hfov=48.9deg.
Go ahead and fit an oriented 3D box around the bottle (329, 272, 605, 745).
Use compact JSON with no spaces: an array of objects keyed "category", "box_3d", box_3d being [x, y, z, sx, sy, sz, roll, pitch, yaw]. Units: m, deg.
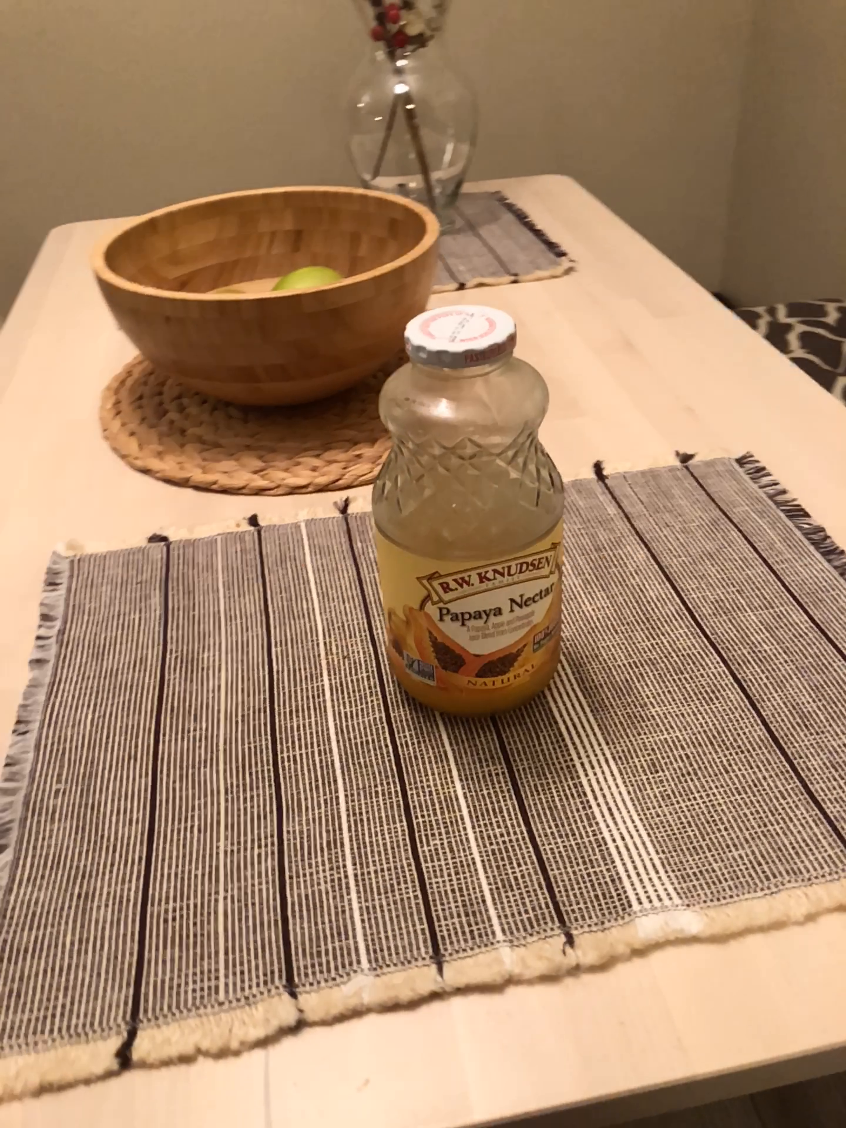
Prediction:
[{"category":"bottle","box_3d":[0.019,-0.025,0.464,0.100,0.199,0.101,-3,35,2]}]
